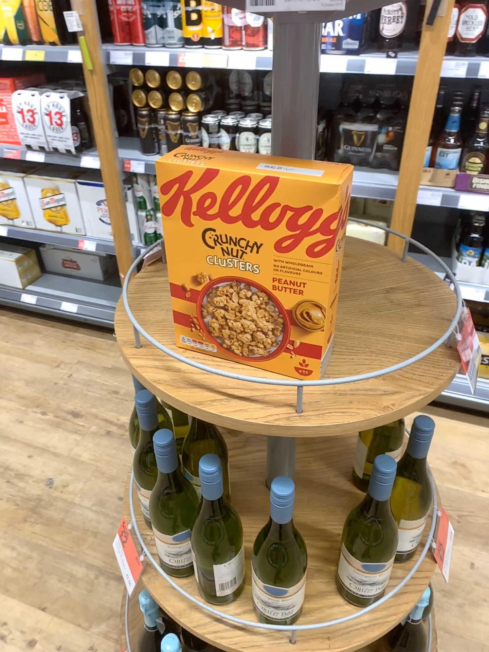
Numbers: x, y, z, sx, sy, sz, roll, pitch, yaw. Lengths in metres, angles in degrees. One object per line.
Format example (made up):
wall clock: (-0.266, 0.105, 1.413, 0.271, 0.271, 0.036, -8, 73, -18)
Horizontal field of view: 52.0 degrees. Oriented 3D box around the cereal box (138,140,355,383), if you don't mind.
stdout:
cereal box: (0.001, -0.070, 0.568, 0.210, 0.238, 0.060, 13, 37, 19)
